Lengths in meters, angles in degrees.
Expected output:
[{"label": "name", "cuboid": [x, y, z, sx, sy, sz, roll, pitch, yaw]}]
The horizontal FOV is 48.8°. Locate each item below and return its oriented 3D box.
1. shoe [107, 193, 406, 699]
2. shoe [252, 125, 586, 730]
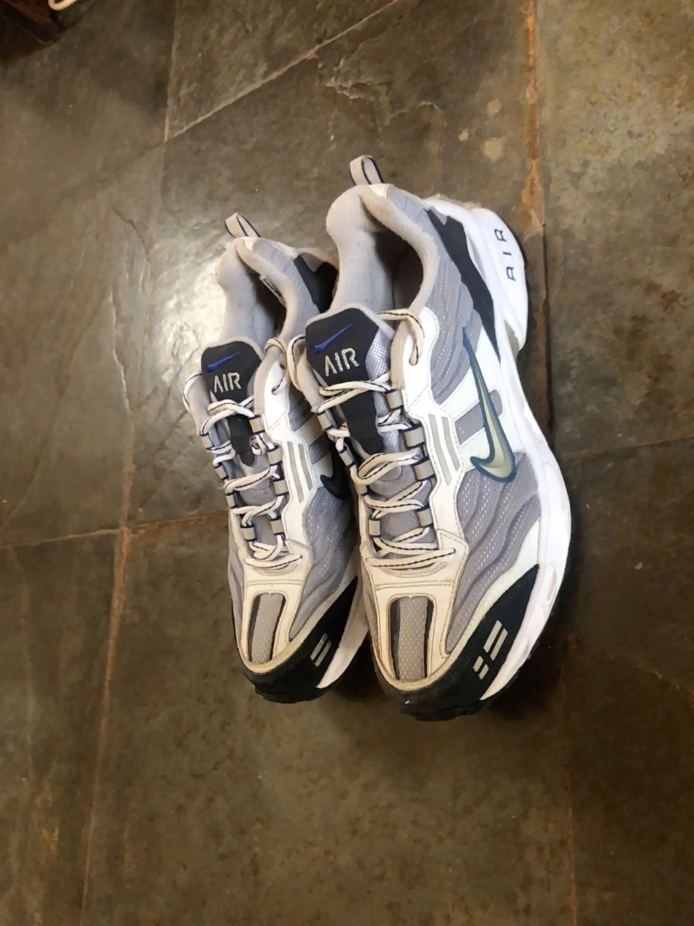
[{"label": "shoe", "cuboid": [-0.045, 0.002, 0.454, 0.110, 0.120, 0.260, -11, 70, 36]}, {"label": "shoe", "cuboid": [0.037, -0.008, 0.387, 0.110, 0.110, 0.260, -11, 70, 36]}]
